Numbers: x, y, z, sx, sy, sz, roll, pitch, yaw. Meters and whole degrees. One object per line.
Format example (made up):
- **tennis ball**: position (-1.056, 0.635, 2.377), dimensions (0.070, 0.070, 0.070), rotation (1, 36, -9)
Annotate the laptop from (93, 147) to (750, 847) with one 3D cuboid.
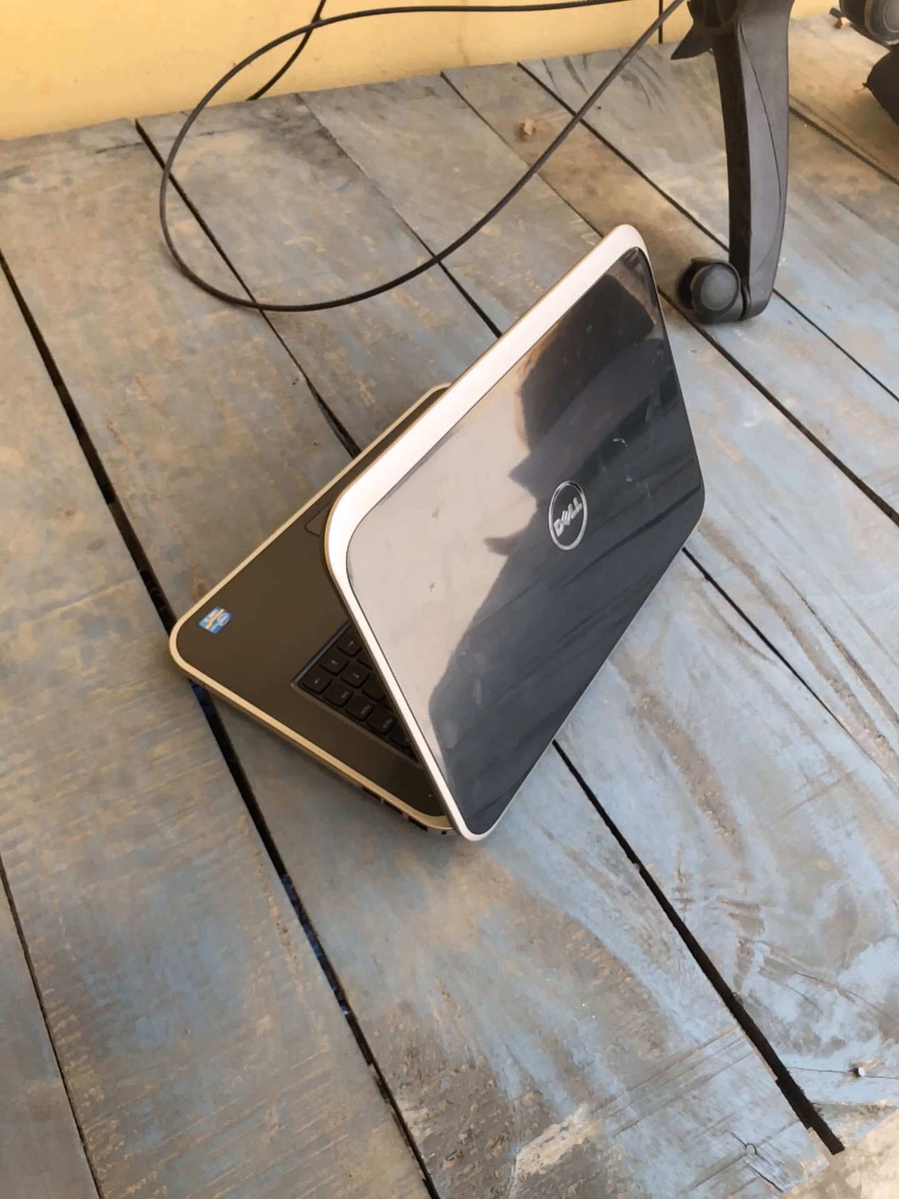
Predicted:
- **laptop**: position (0.001, -0.081, 0.636), dimensions (0.216, 0.206, 0.348), rotation (30, 54, 15)
